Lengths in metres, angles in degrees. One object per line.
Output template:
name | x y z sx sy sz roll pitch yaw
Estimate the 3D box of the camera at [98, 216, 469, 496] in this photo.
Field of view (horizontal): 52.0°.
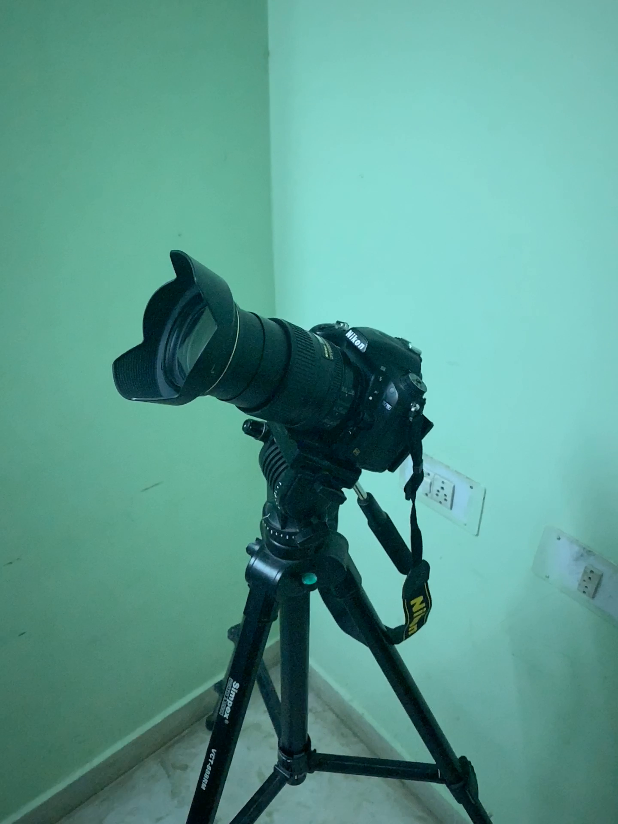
camera | -0.022 -0.040 0.534 0.248 0.120 0.152 15 23 -36
